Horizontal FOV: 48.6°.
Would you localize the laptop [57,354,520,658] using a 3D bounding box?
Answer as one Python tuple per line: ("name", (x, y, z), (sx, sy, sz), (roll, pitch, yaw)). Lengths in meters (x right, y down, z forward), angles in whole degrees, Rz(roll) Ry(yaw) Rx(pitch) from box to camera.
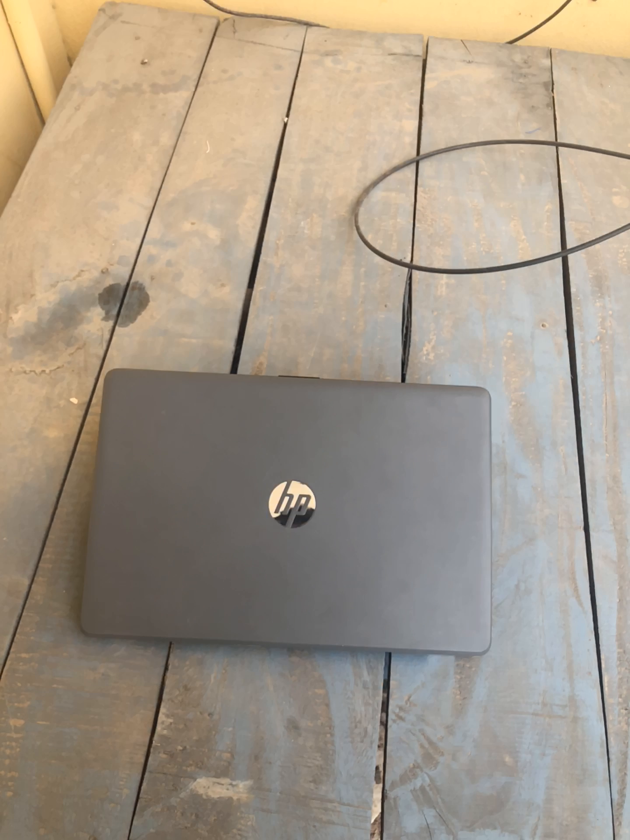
("laptop", (-0.017, 0.075, 0.645), (0.361, 0.096, 0.244), (3, 59, 1))
